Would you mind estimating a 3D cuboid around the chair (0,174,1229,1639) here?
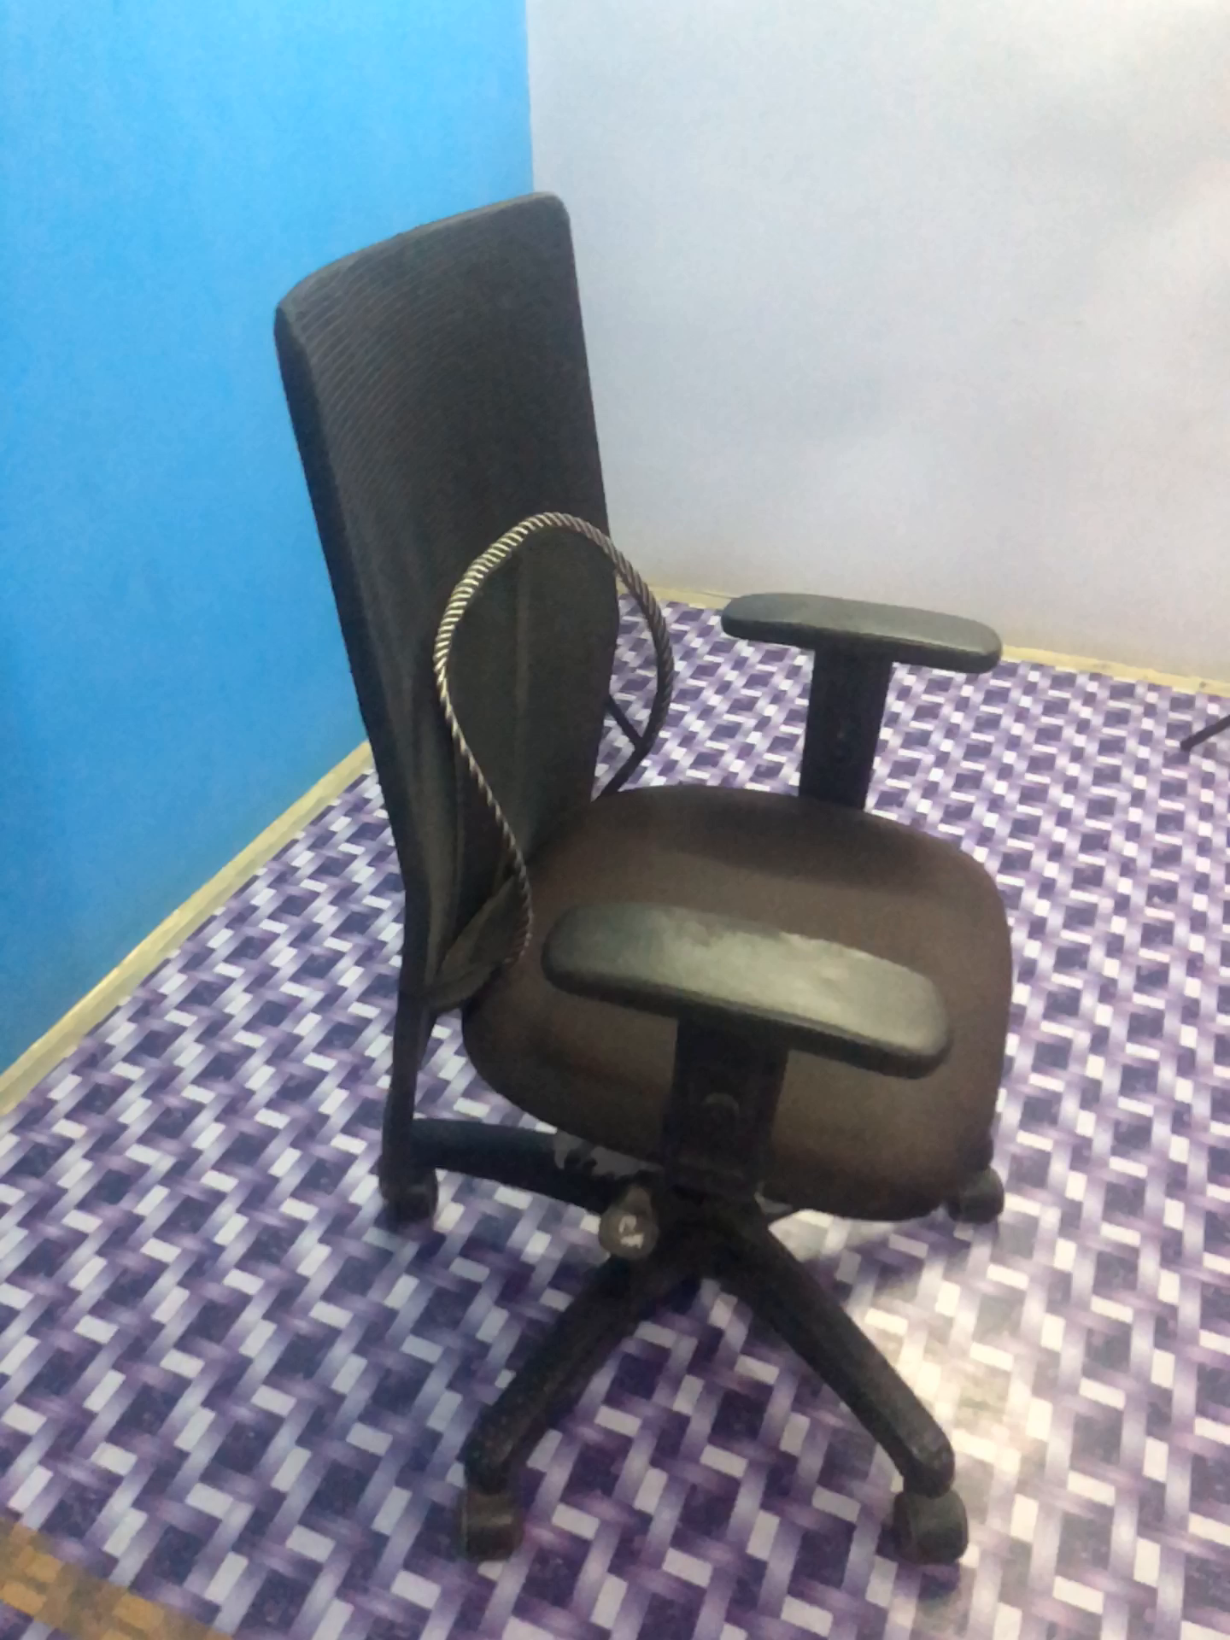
[{"bbox_3d":[0.060,0.040,1.049,0.670,0.885,0.664,7,34,12],"label":"chair"}]
